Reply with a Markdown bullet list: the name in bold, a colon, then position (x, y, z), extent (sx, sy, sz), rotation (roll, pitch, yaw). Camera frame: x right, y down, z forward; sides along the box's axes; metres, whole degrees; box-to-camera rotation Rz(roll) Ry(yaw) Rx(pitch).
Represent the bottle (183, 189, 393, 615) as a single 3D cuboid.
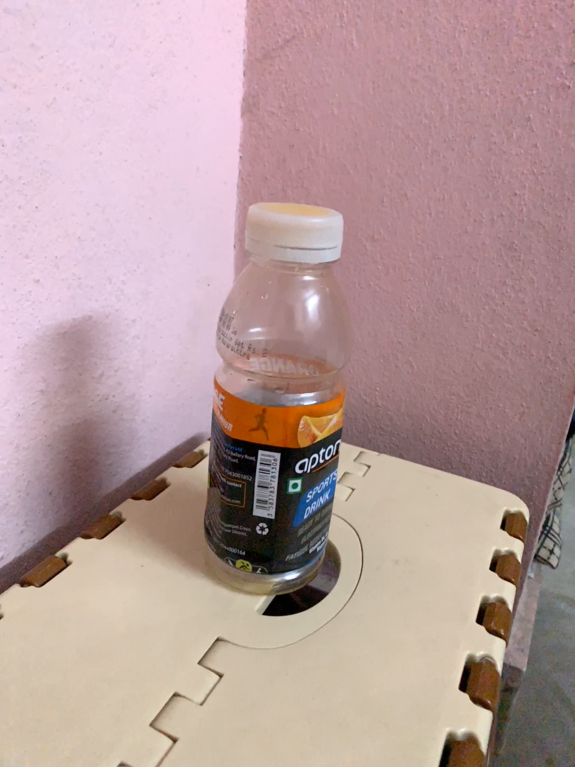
- **bottle**: position (-0.003, 0.006, 0.282), extent (0.060, 0.179, 0.070), rotation (16, 25, 25)
